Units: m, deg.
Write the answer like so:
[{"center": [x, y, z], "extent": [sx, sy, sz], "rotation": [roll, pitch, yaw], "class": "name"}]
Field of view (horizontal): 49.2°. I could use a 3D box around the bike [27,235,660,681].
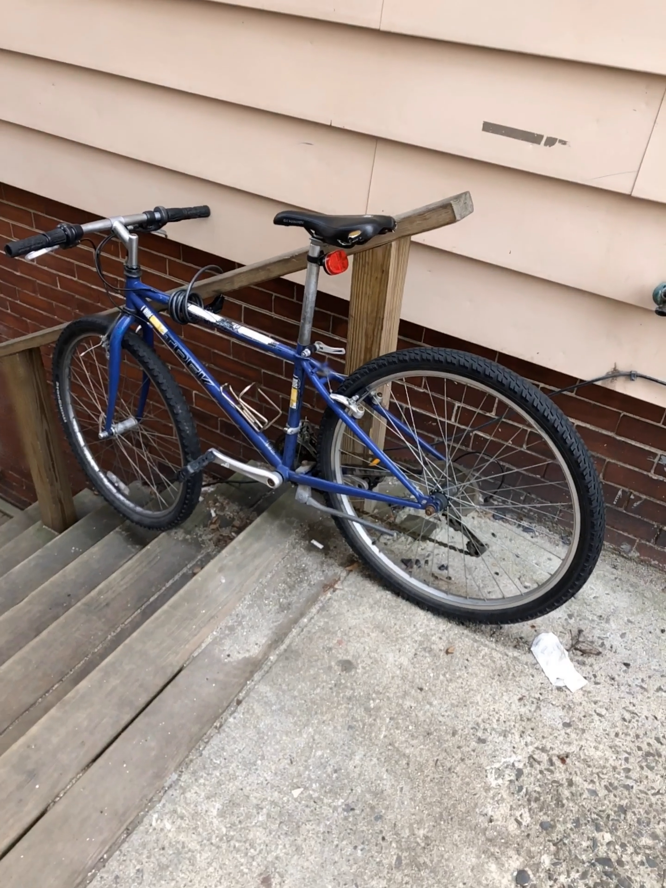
[{"center": [-0.072, -0.095, 1.871], "extent": [1.522, 0.619, 0.535], "rotation": [16, 36, 29], "class": "bike"}]
